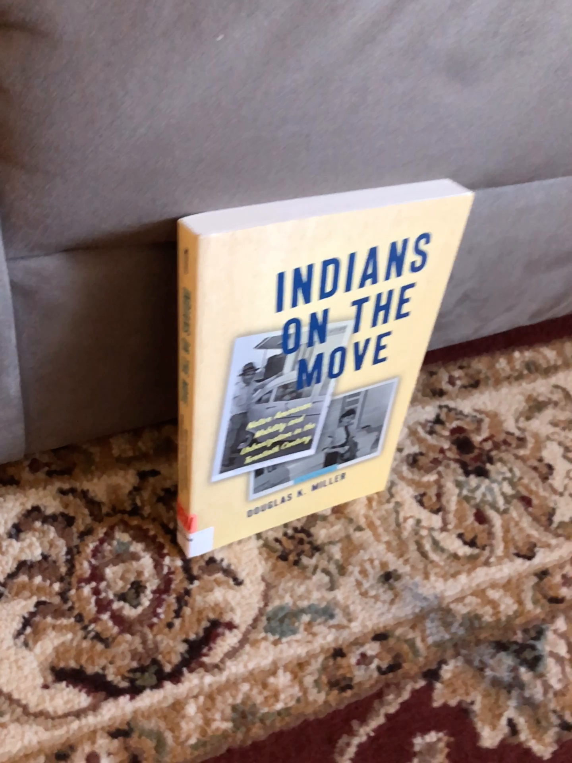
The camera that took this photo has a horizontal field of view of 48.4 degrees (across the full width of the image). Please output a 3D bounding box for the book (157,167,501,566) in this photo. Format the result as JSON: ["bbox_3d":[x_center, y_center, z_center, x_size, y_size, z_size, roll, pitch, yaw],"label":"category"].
[{"bbox_3d":[0.014,0.003,0.361,0.160,0.230,0.030,-15,47,-23],"label":"book"}]
